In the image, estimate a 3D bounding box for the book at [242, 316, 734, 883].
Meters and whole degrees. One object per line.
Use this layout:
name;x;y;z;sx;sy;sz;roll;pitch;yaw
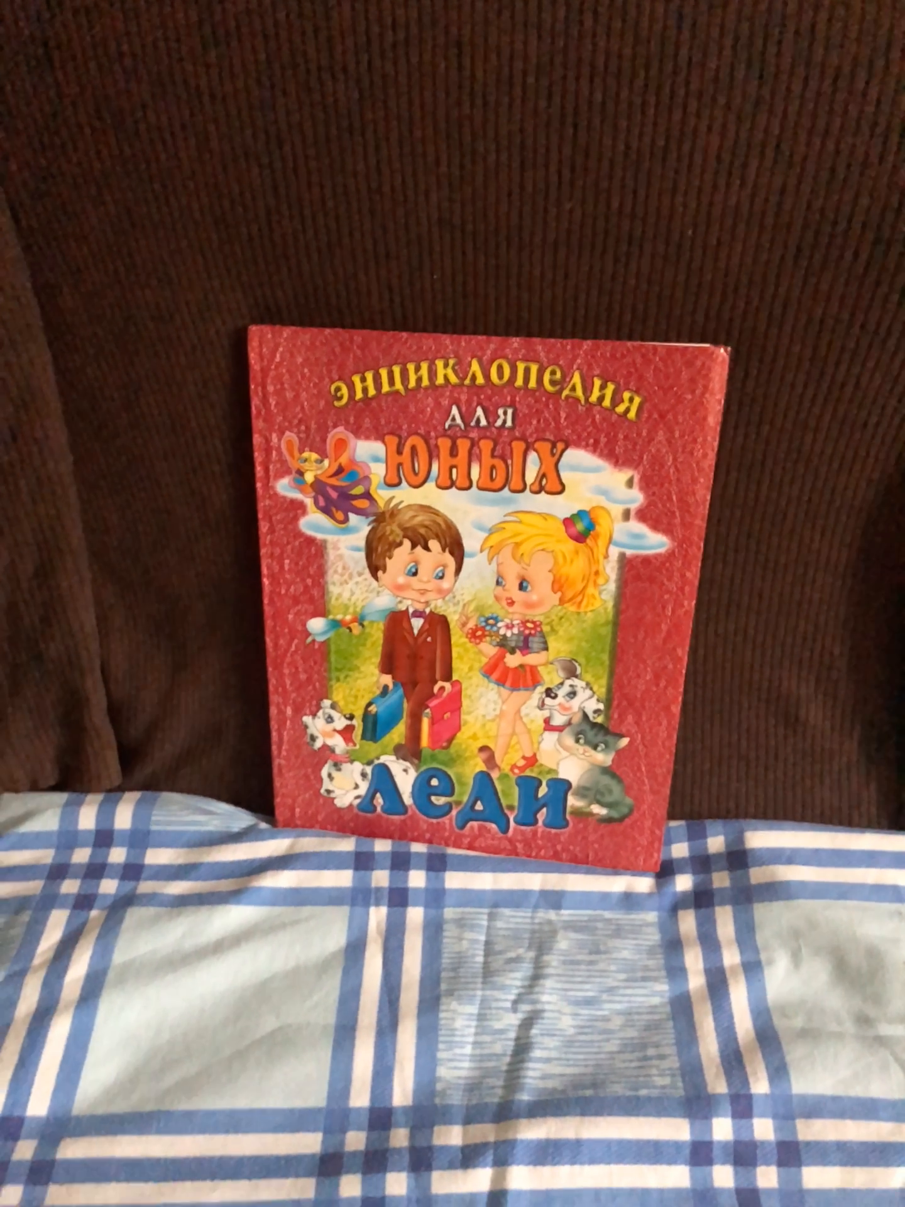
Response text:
book;0.010;0.010;0.533;0.230;0.303;0.020;4;23;4
